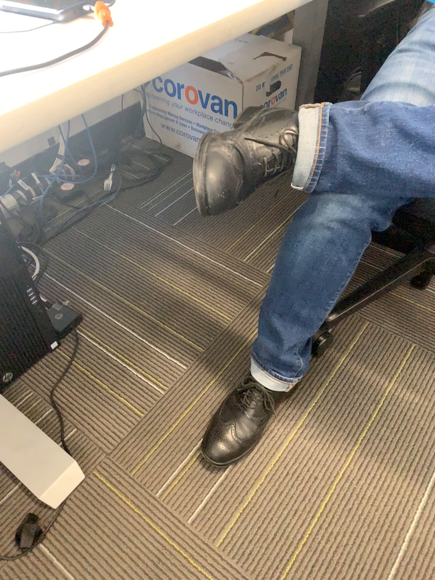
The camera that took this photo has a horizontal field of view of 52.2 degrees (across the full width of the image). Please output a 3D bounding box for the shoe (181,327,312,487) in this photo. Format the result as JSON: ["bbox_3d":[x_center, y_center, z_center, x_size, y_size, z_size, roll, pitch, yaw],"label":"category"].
[{"bbox_3d":[0.063,0.219,0.872,0.112,0.104,0.274,28,54,24],"label":"shoe"}]

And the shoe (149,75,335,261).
[{"bbox_3d":[0.045,-0.174,0.591,0.091,0.111,0.274,26,54,27],"label":"shoe"}]
